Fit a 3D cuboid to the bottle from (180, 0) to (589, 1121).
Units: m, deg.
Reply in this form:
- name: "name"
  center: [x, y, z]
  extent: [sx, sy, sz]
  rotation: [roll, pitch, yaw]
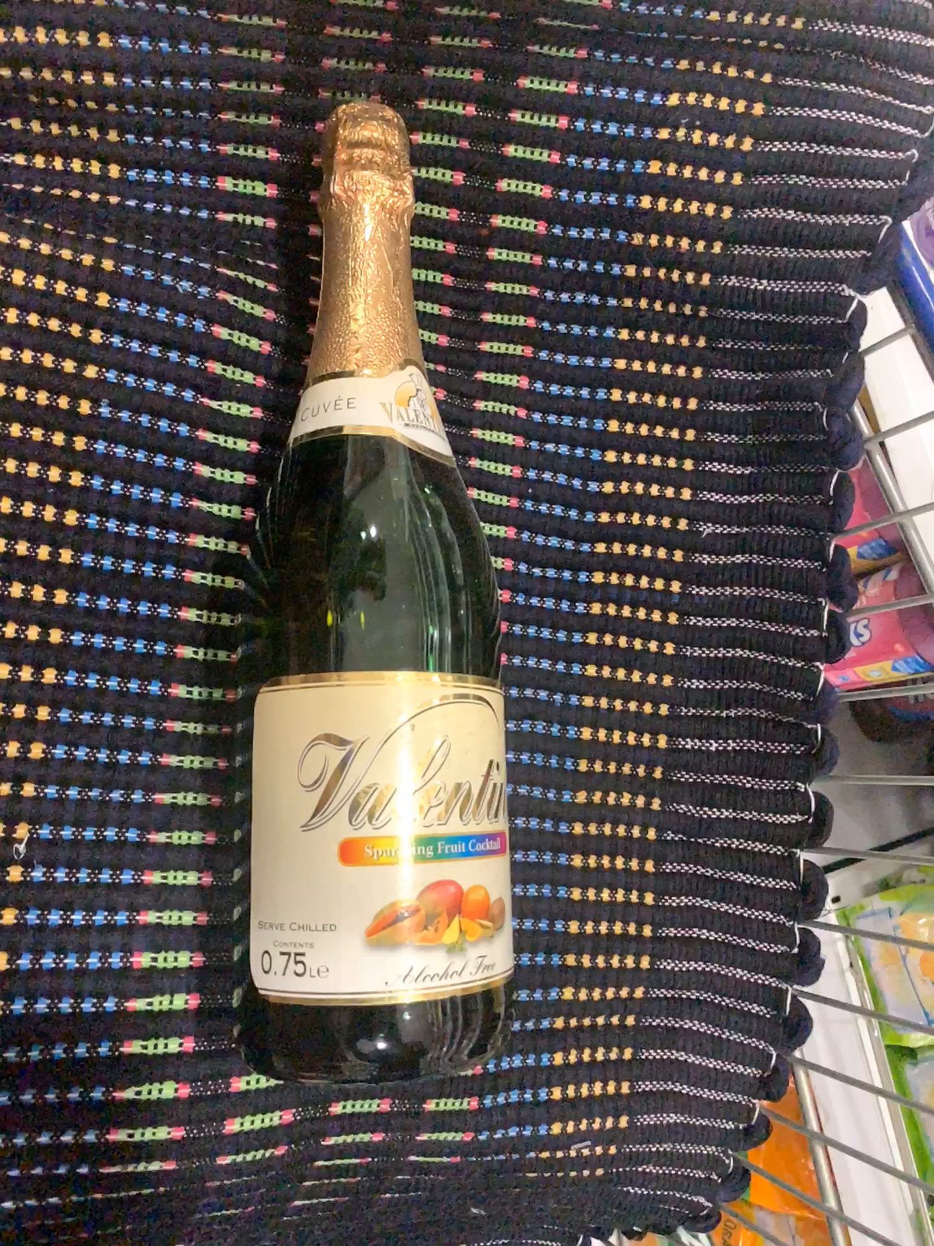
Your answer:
- name: "bottle"
  center: [-0.034, -0.046, 0.313]
  extent: [0.090, 0.080, 0.350]
  rotation: [5, 75, -32]
